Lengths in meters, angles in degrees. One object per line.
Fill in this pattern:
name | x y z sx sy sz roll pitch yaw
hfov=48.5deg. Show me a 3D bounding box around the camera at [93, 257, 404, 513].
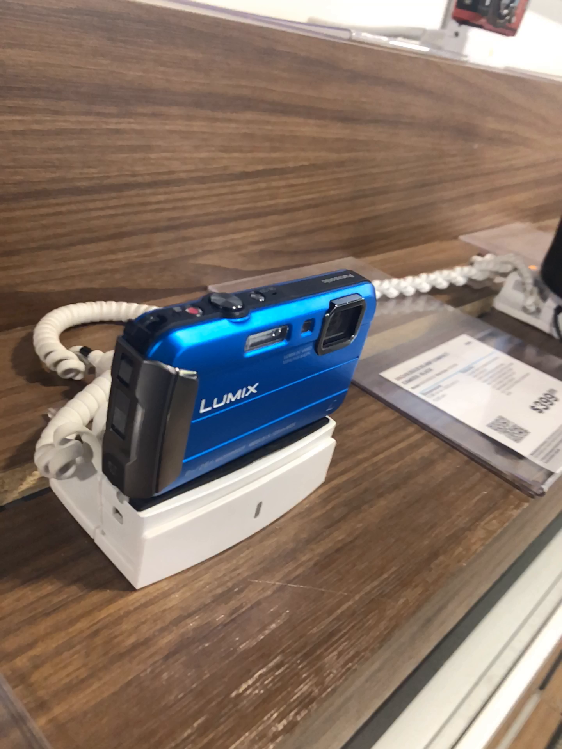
camera | -0.006 -0.002 0.195 0.023 0.051 0.101 36 37 29
